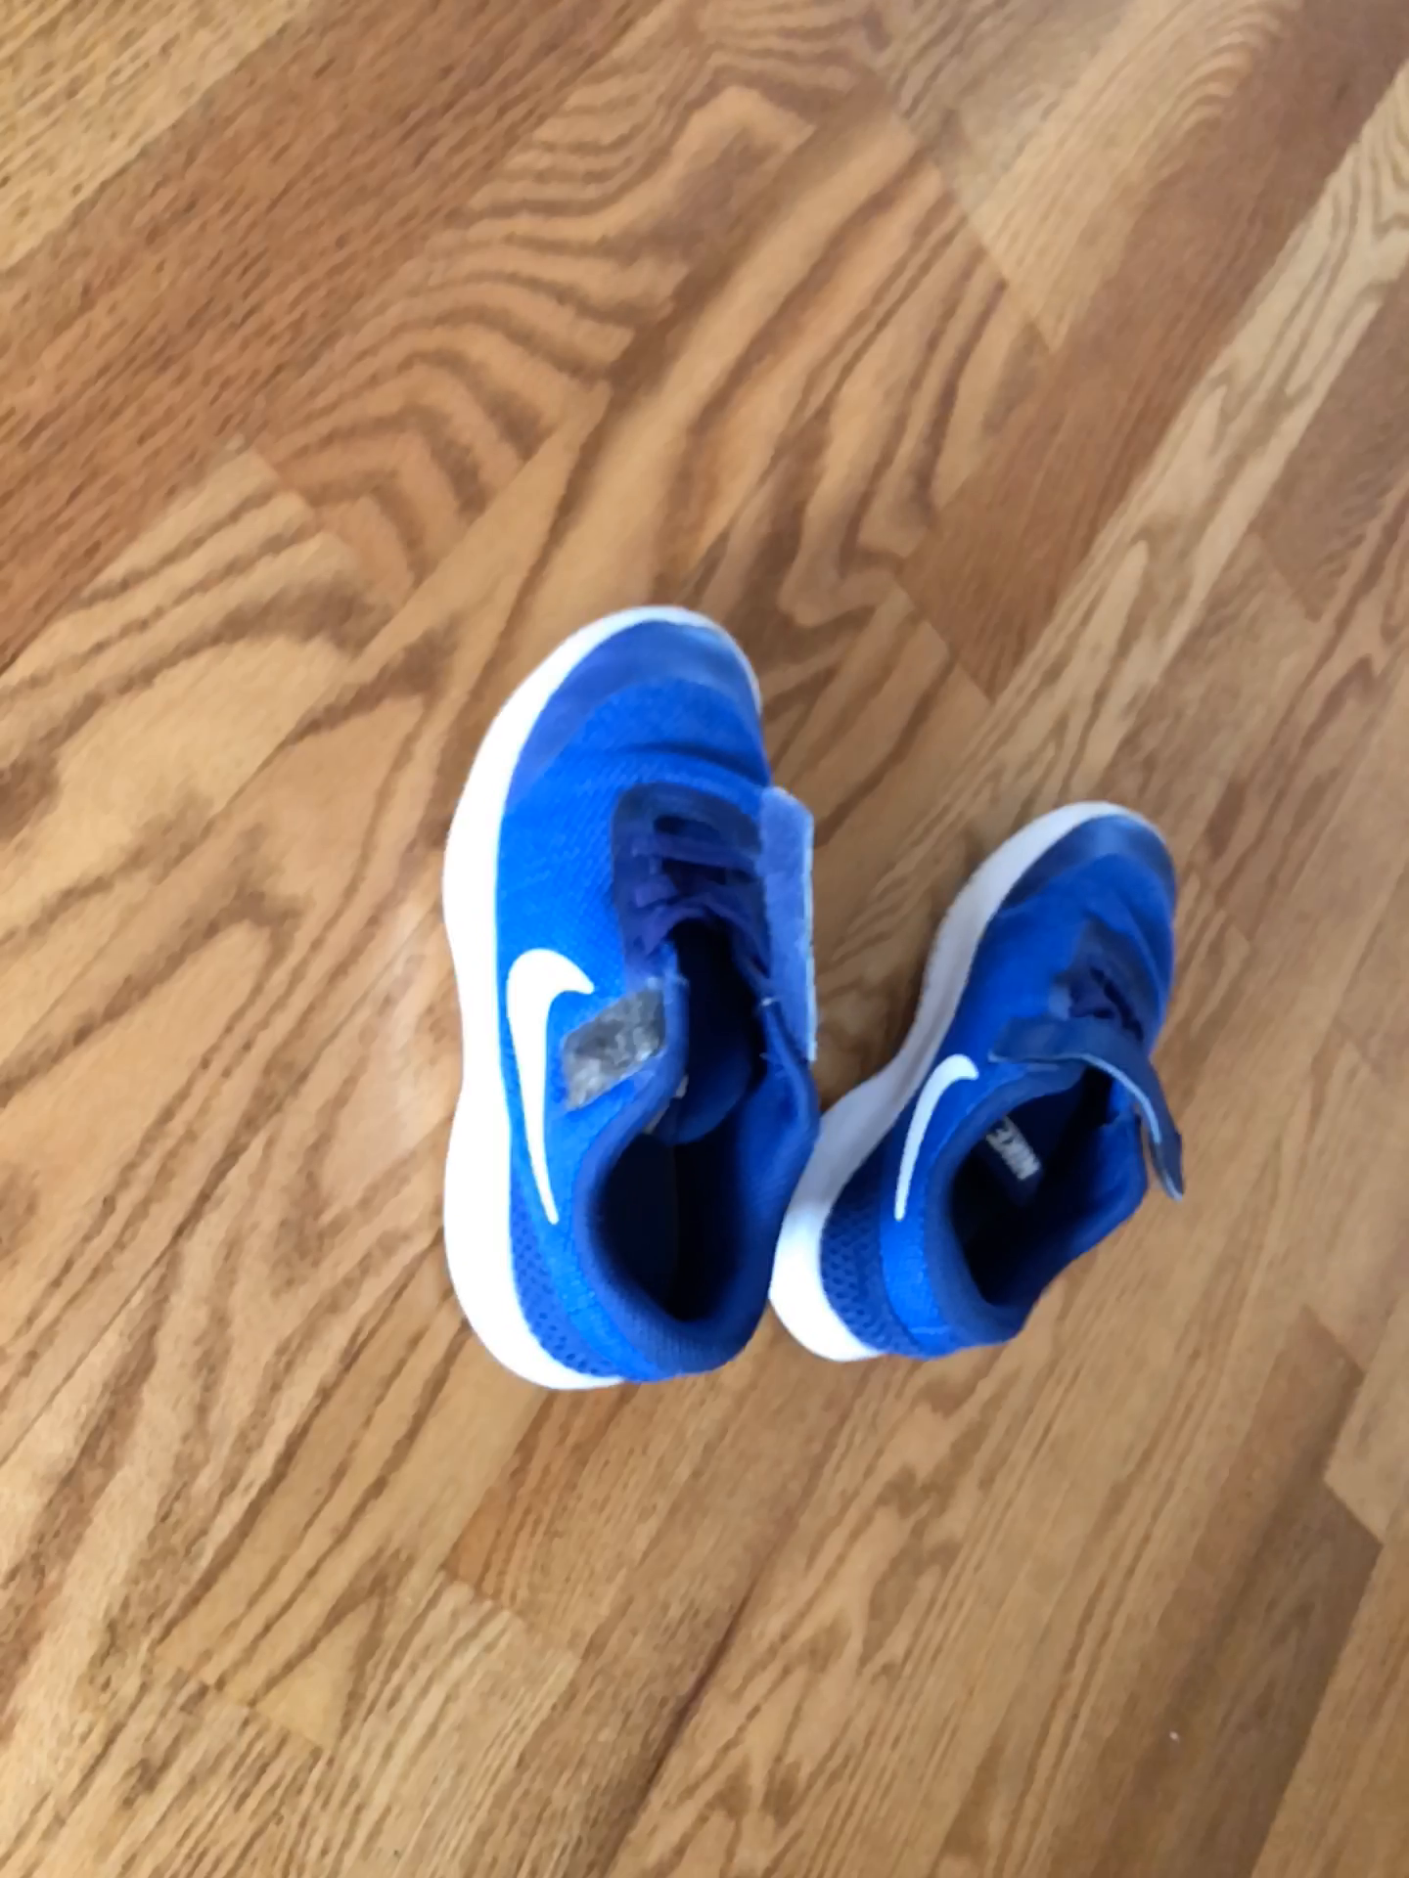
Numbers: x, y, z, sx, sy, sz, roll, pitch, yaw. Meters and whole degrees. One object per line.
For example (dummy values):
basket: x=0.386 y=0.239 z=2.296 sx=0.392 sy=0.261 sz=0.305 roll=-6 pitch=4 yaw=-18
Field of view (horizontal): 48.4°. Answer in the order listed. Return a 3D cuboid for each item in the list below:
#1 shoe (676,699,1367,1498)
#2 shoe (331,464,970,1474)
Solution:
shoe: x=0.103 y=0.040 z=0.483 sx=0.093 sy=0.092 sz=0.215 roll=47 pitch=64 yaw=-26
shoe: x=-0.013 y=0.011 z=0.391 sx=0.093 sy=0.092 sz=0.214 roll=13 pitch=82 yaw=-35
